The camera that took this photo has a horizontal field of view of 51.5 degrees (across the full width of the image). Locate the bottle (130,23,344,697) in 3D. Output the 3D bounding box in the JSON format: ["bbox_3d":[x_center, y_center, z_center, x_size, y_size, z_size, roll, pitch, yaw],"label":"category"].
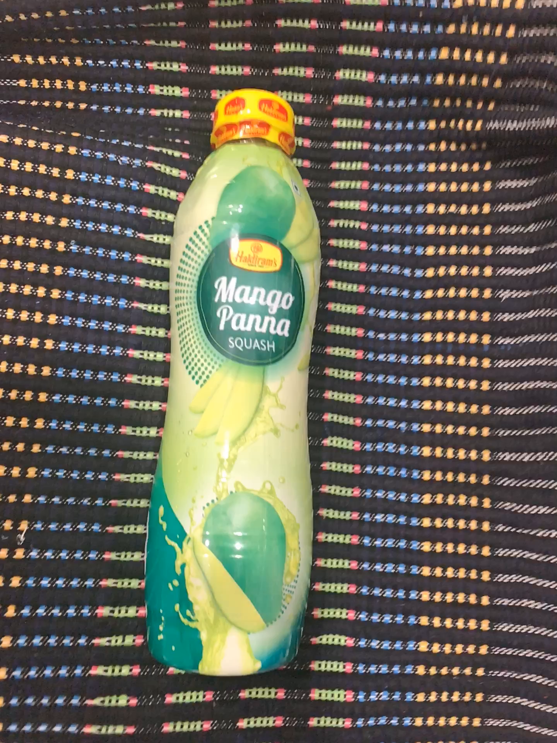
[{"bbox_3d":[-0.017,-0.011,0.259,0.070,0.050,0.270,6,79,-15],"label":"bottle"}]
